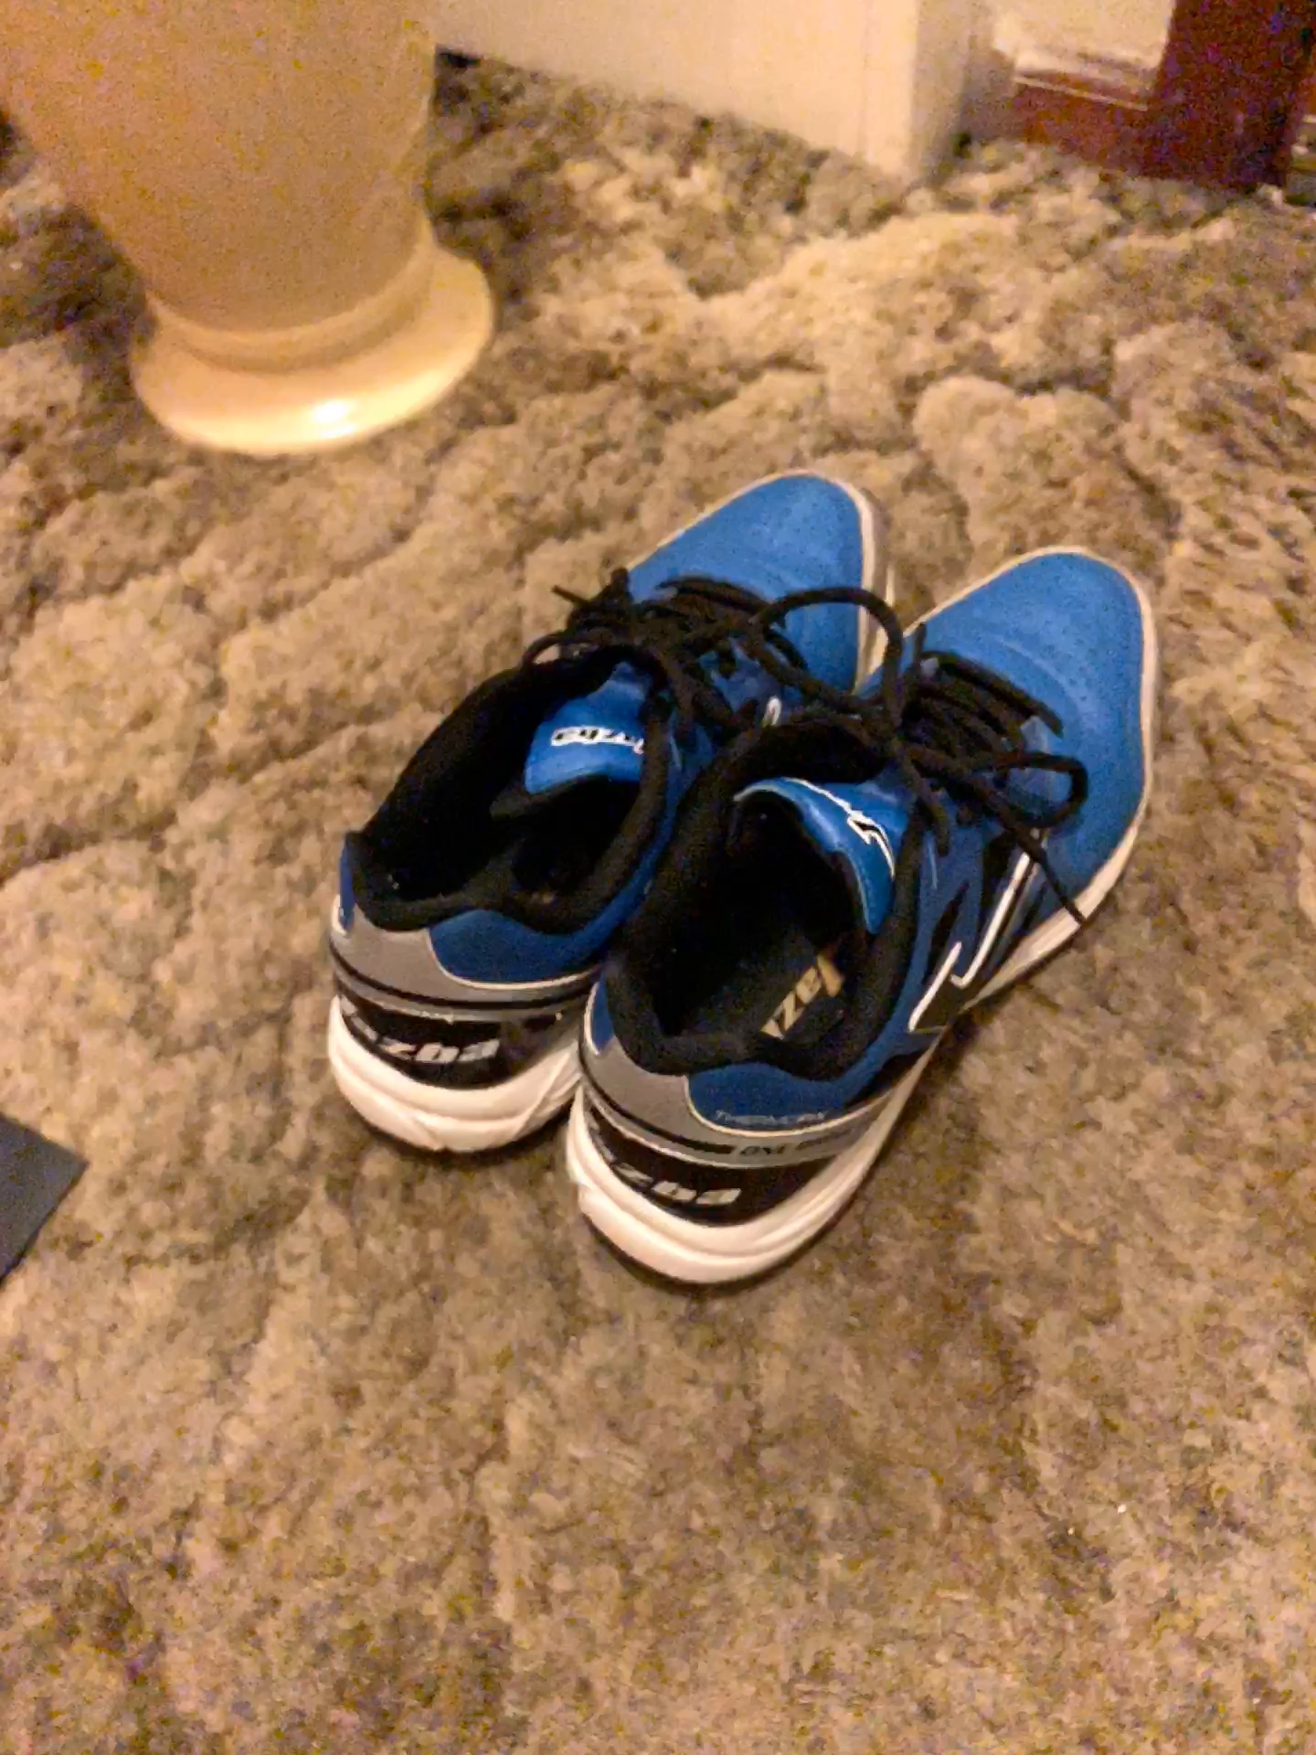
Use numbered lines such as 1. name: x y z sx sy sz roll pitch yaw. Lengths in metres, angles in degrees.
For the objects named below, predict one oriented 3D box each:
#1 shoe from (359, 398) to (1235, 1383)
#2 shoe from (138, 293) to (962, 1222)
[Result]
1. shoe: 0.054 -0.004 0.427 0.100 0.119 0.281 31 65 22
2. shoe: -0.015 -0.047 0.442 0.100 0.119 0.271 27 64 20
